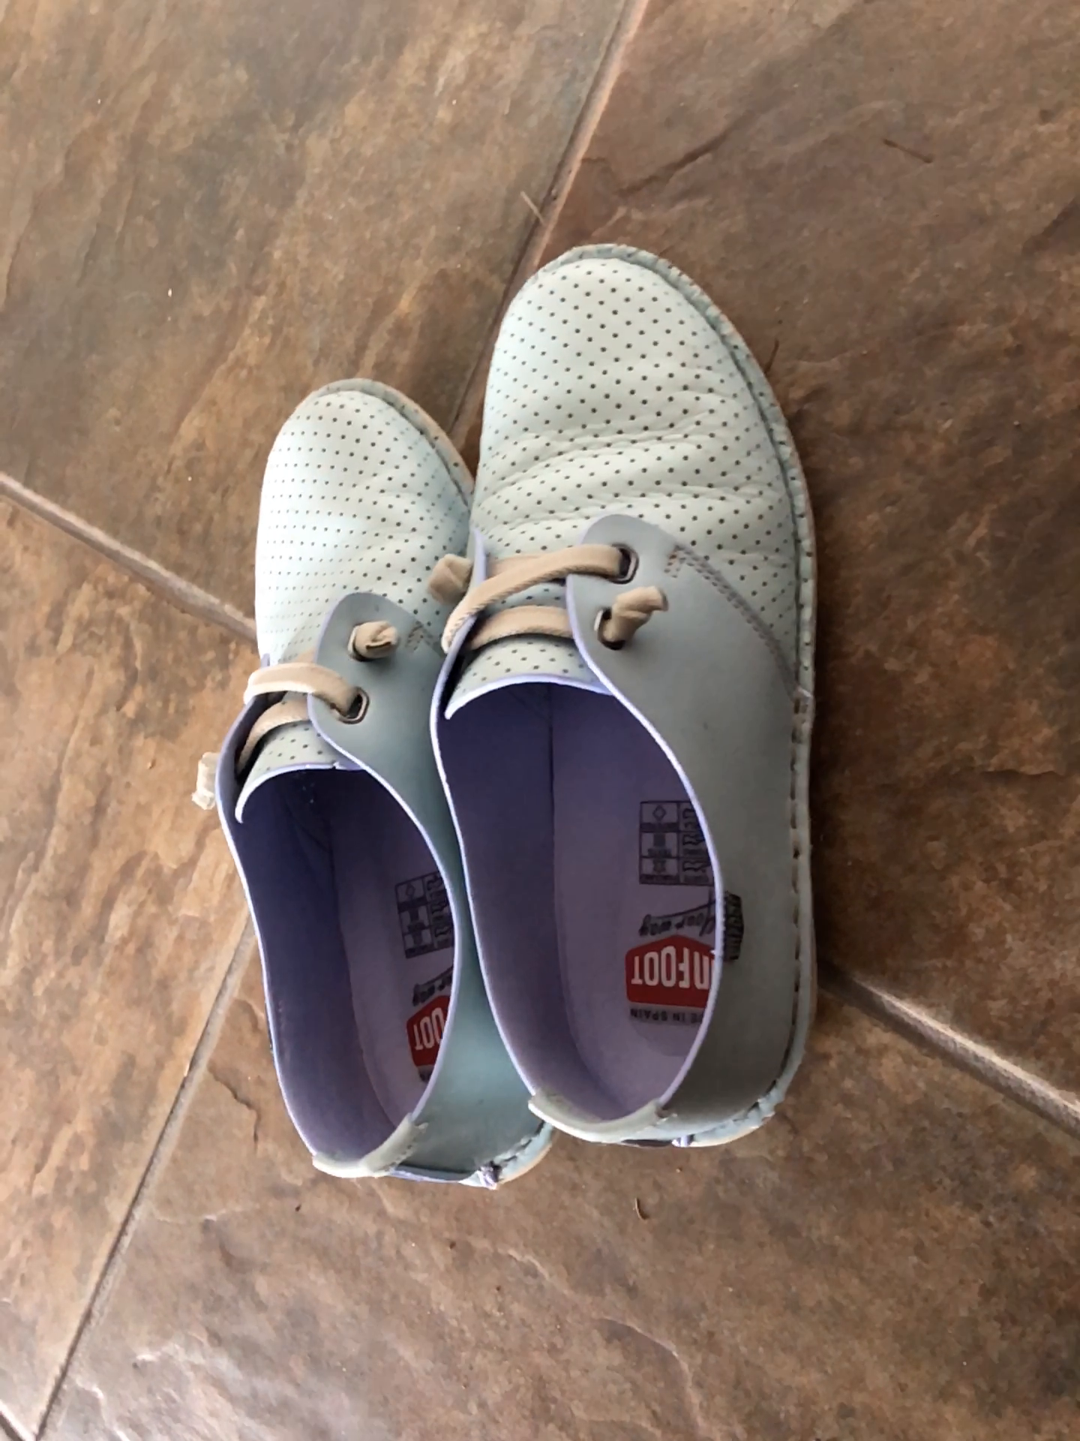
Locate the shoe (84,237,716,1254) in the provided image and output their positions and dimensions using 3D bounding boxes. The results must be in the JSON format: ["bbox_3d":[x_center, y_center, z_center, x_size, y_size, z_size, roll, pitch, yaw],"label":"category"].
[{"bbox_3d":[-0.043,0.009,0.357,0.100,0.100,0.250,-19,77,27],"label":"shoe"}]

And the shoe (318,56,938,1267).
[{"bbox_3d":[0.024,-0.010,0.309,0.100,0.100,0.250,-10,82,29],"label":"shoe"}]
